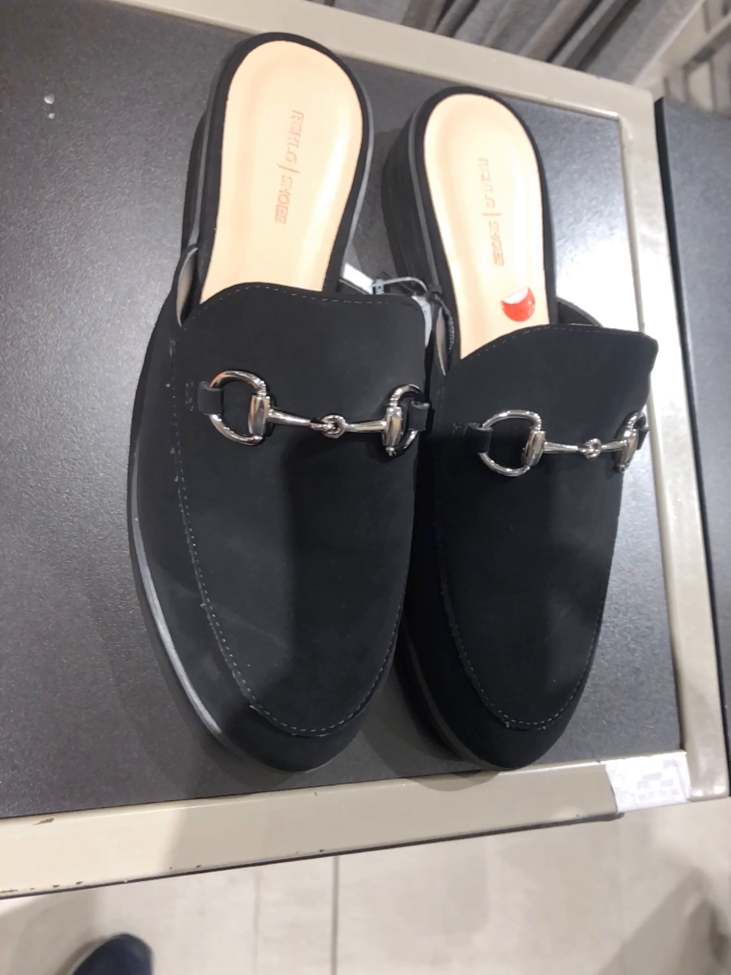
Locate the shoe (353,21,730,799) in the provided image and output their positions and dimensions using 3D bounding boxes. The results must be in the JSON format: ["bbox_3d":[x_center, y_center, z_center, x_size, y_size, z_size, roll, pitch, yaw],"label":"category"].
[{"bbox_3d":[0.059,-0.024,0.271,0.090,0.070,0.220,-1,79,-21],"label":"shoe"}]

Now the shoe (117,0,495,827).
[{"bbox_3d":[-0.022,-0.028,0.247,0.090,0.080,0.220,2,84,-21],"label":"shoe"}]
